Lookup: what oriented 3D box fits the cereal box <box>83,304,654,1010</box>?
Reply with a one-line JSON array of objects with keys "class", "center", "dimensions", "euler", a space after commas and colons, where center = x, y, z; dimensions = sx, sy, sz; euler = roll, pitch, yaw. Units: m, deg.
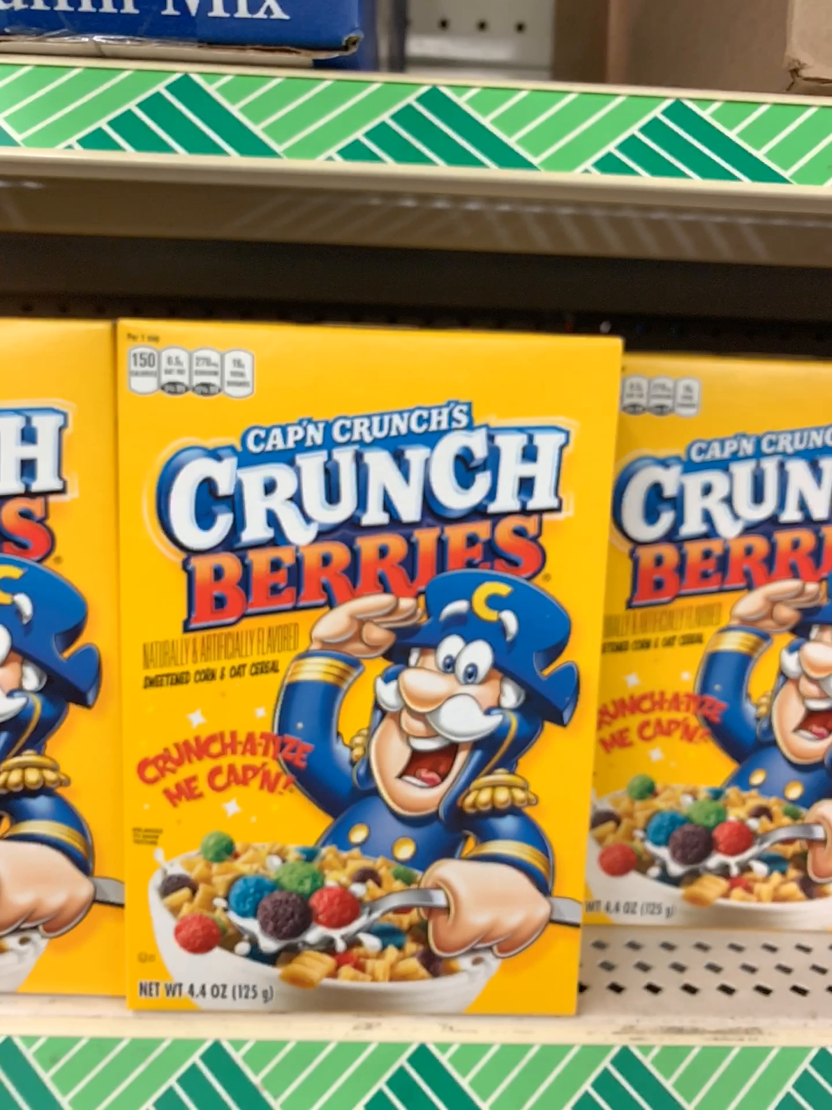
[{"class": "cereal box", "center": [-0.016, 0.031, 0.270], "dimensions": [0.150, 0.200, 0.050], "euler": [1, 8, -2]}]
